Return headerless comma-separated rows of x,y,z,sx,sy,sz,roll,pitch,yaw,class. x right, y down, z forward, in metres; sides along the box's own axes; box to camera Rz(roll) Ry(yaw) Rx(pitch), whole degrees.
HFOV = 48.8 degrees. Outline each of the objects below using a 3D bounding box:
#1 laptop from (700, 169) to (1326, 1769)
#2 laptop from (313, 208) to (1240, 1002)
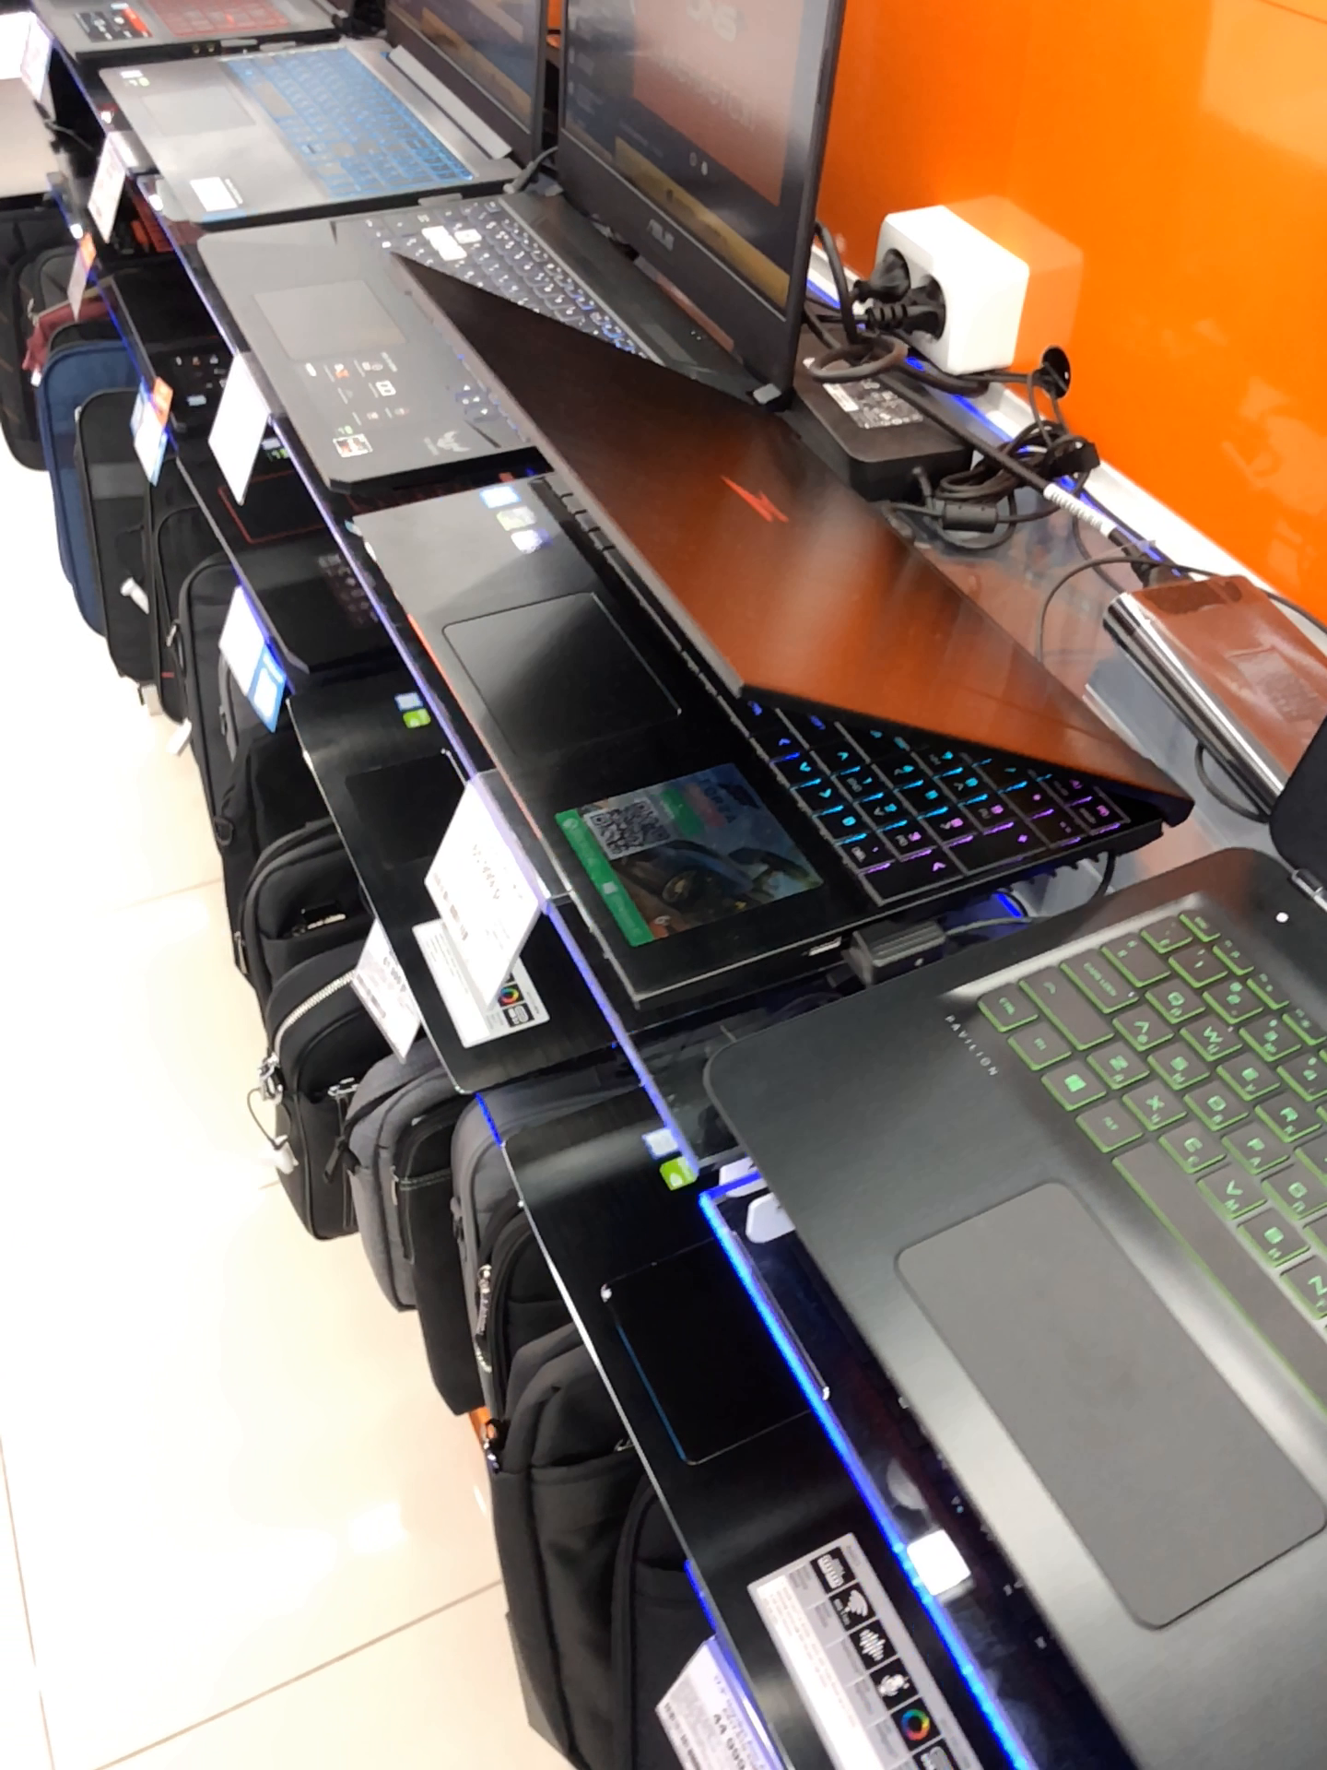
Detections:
0.219,0.034,0.351,0.306,0.252,0.335,-17,47,-19,laptop
0.018,-0.151,0.629,0.233,0.118,0.361,-18,47,-17,laptop
